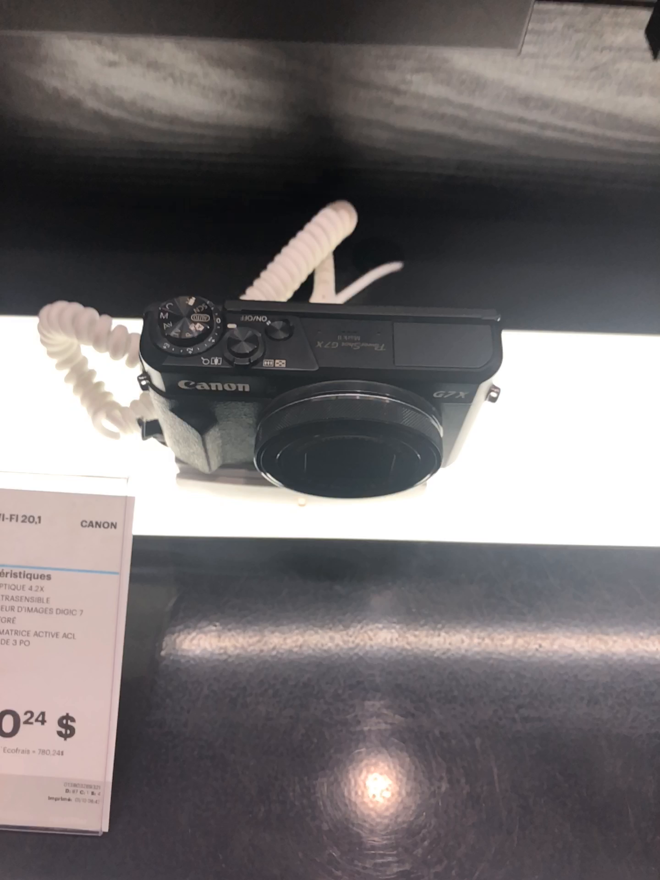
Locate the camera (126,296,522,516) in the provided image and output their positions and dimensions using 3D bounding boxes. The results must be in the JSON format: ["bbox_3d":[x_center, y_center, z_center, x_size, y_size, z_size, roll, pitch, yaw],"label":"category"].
[{"bbox_3d":[-0.002,-0.008,0.221,0.100,0.056,0.038,2,59,-1],"label":"camera"}]
